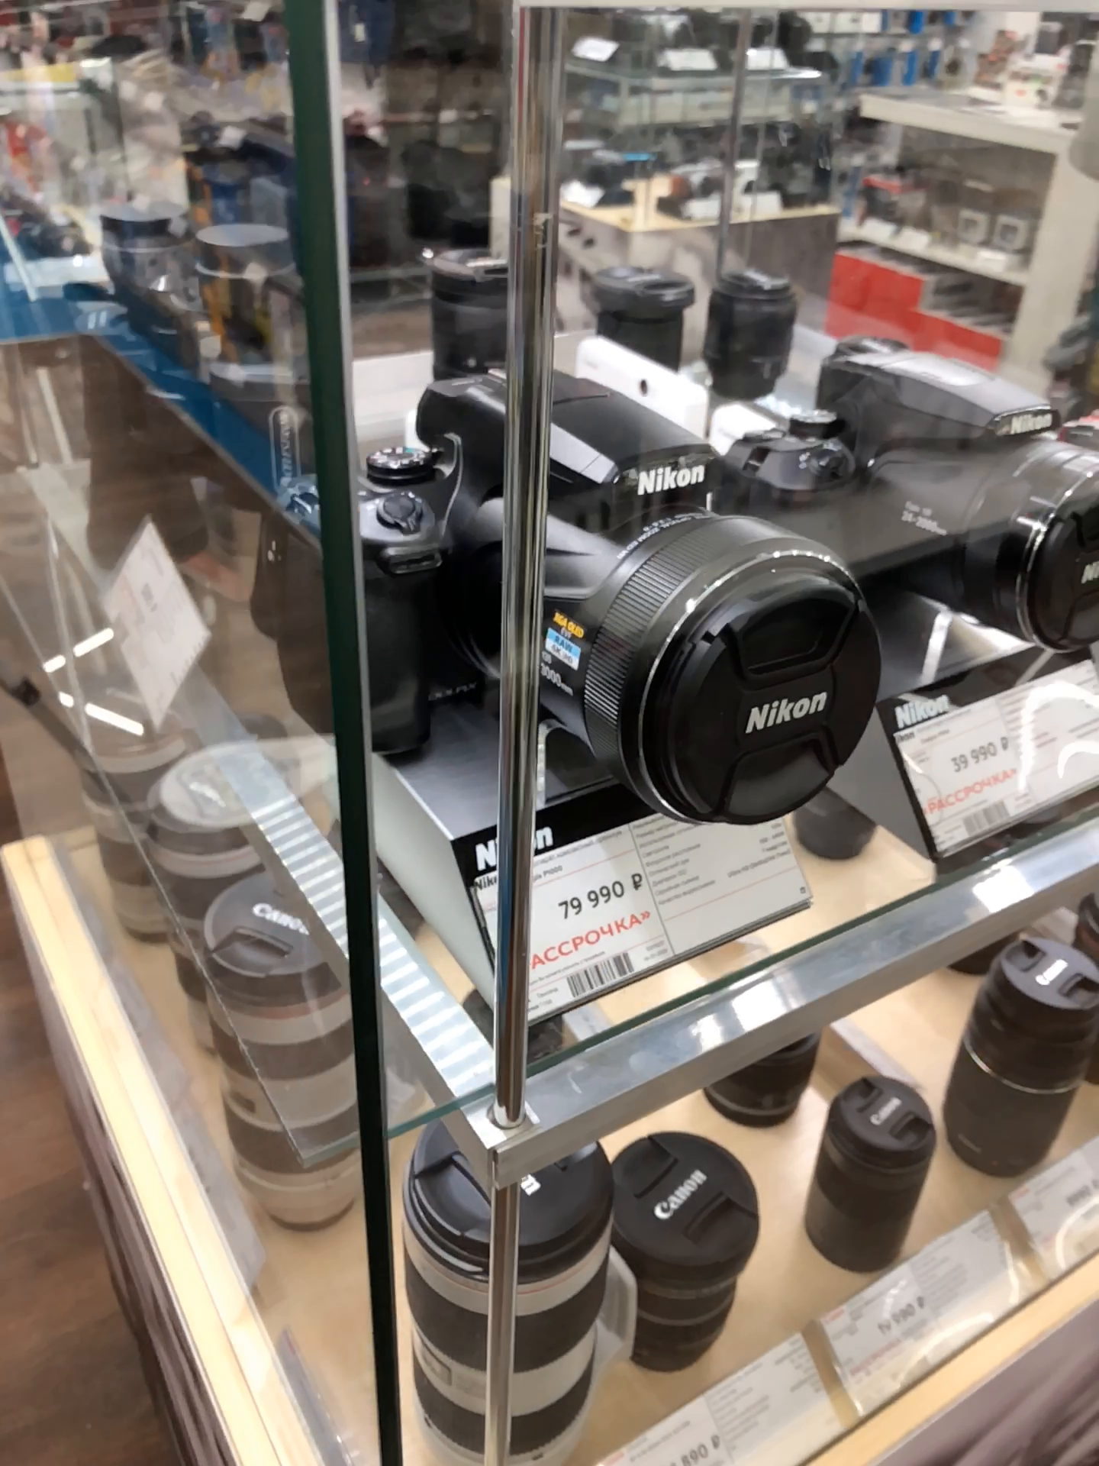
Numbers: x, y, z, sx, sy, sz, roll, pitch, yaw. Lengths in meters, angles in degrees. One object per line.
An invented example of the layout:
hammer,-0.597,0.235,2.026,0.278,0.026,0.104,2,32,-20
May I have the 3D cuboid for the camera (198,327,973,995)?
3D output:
camera,-0.002,-0.045,0.412,0.160,0.113,0.201,-16,38,-27
